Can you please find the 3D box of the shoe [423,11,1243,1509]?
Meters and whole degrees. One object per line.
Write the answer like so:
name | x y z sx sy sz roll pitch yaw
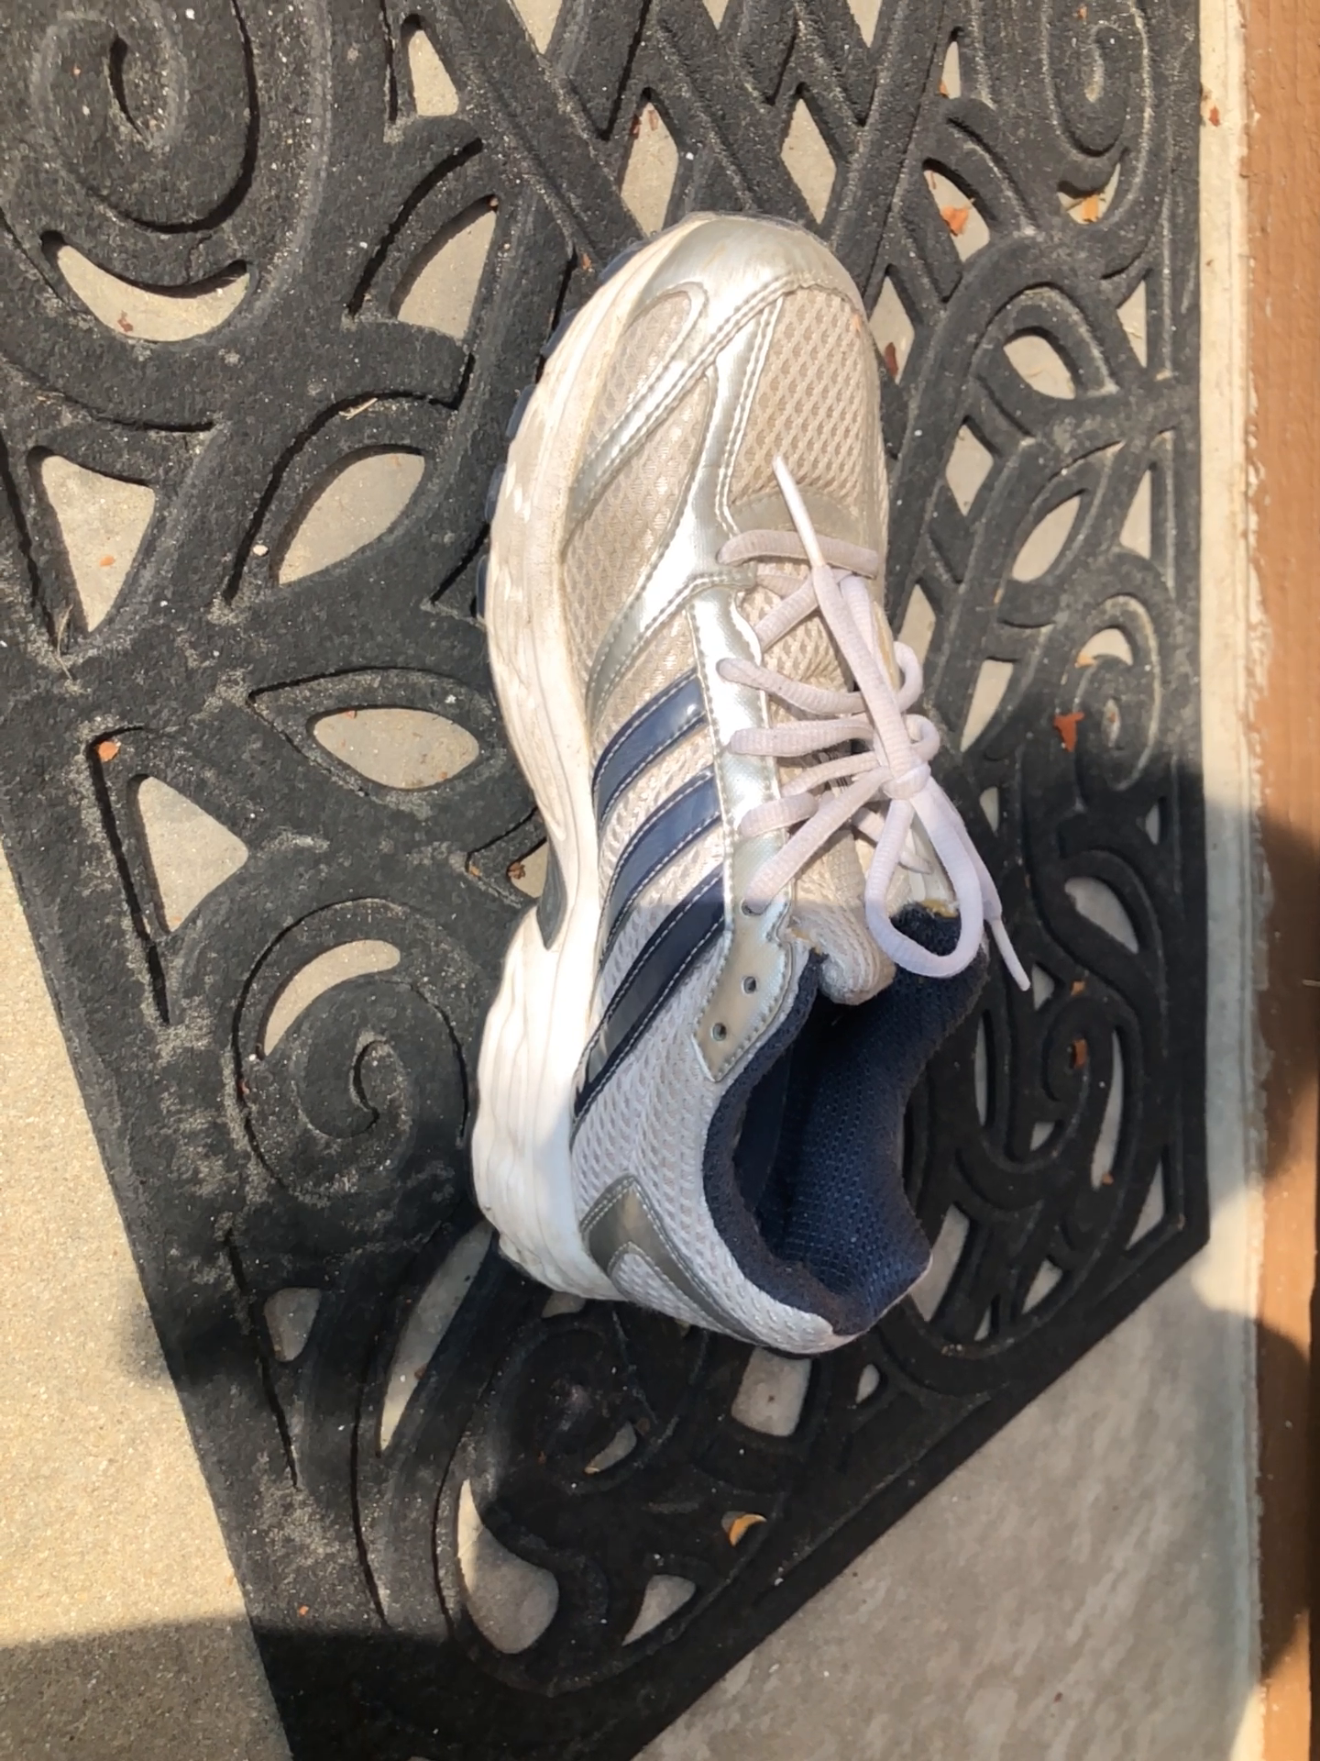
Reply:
shoe | 0.029 -0.023 0.335 0.100 0.129 0.260 -4 103 -41
